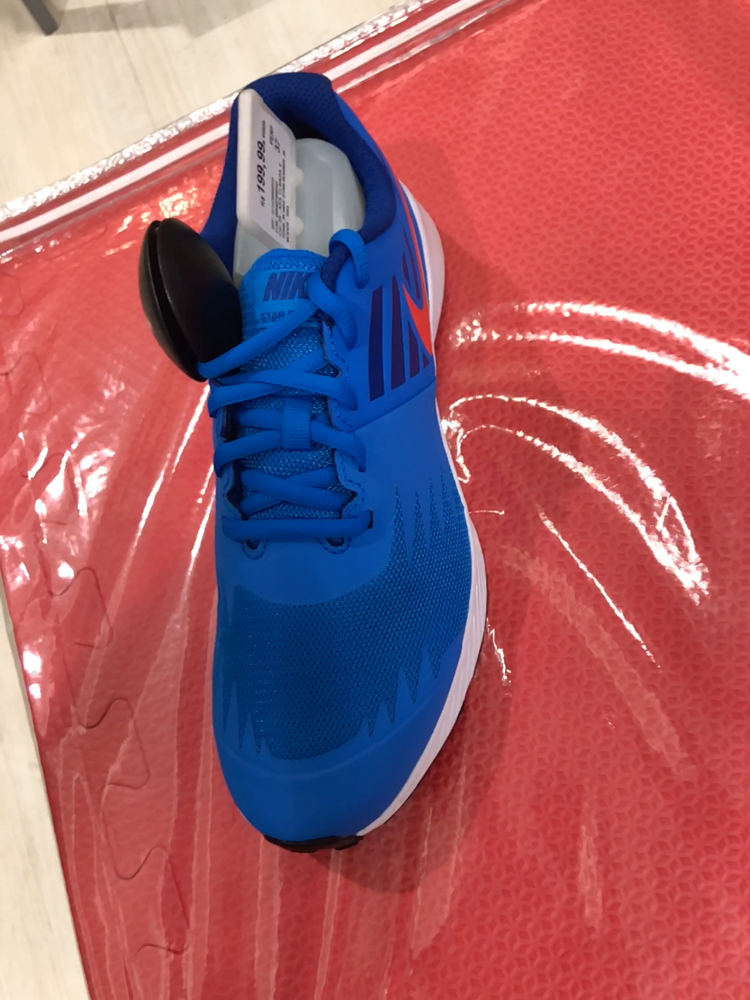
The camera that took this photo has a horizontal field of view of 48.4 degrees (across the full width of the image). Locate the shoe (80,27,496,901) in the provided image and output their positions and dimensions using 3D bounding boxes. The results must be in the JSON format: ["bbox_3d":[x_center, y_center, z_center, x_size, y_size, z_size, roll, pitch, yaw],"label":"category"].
[{"bbox_3d":[-0.012,-0.018,0.306,0.100,0.100,0.281,0,71,12],"label":"shoe"}]
